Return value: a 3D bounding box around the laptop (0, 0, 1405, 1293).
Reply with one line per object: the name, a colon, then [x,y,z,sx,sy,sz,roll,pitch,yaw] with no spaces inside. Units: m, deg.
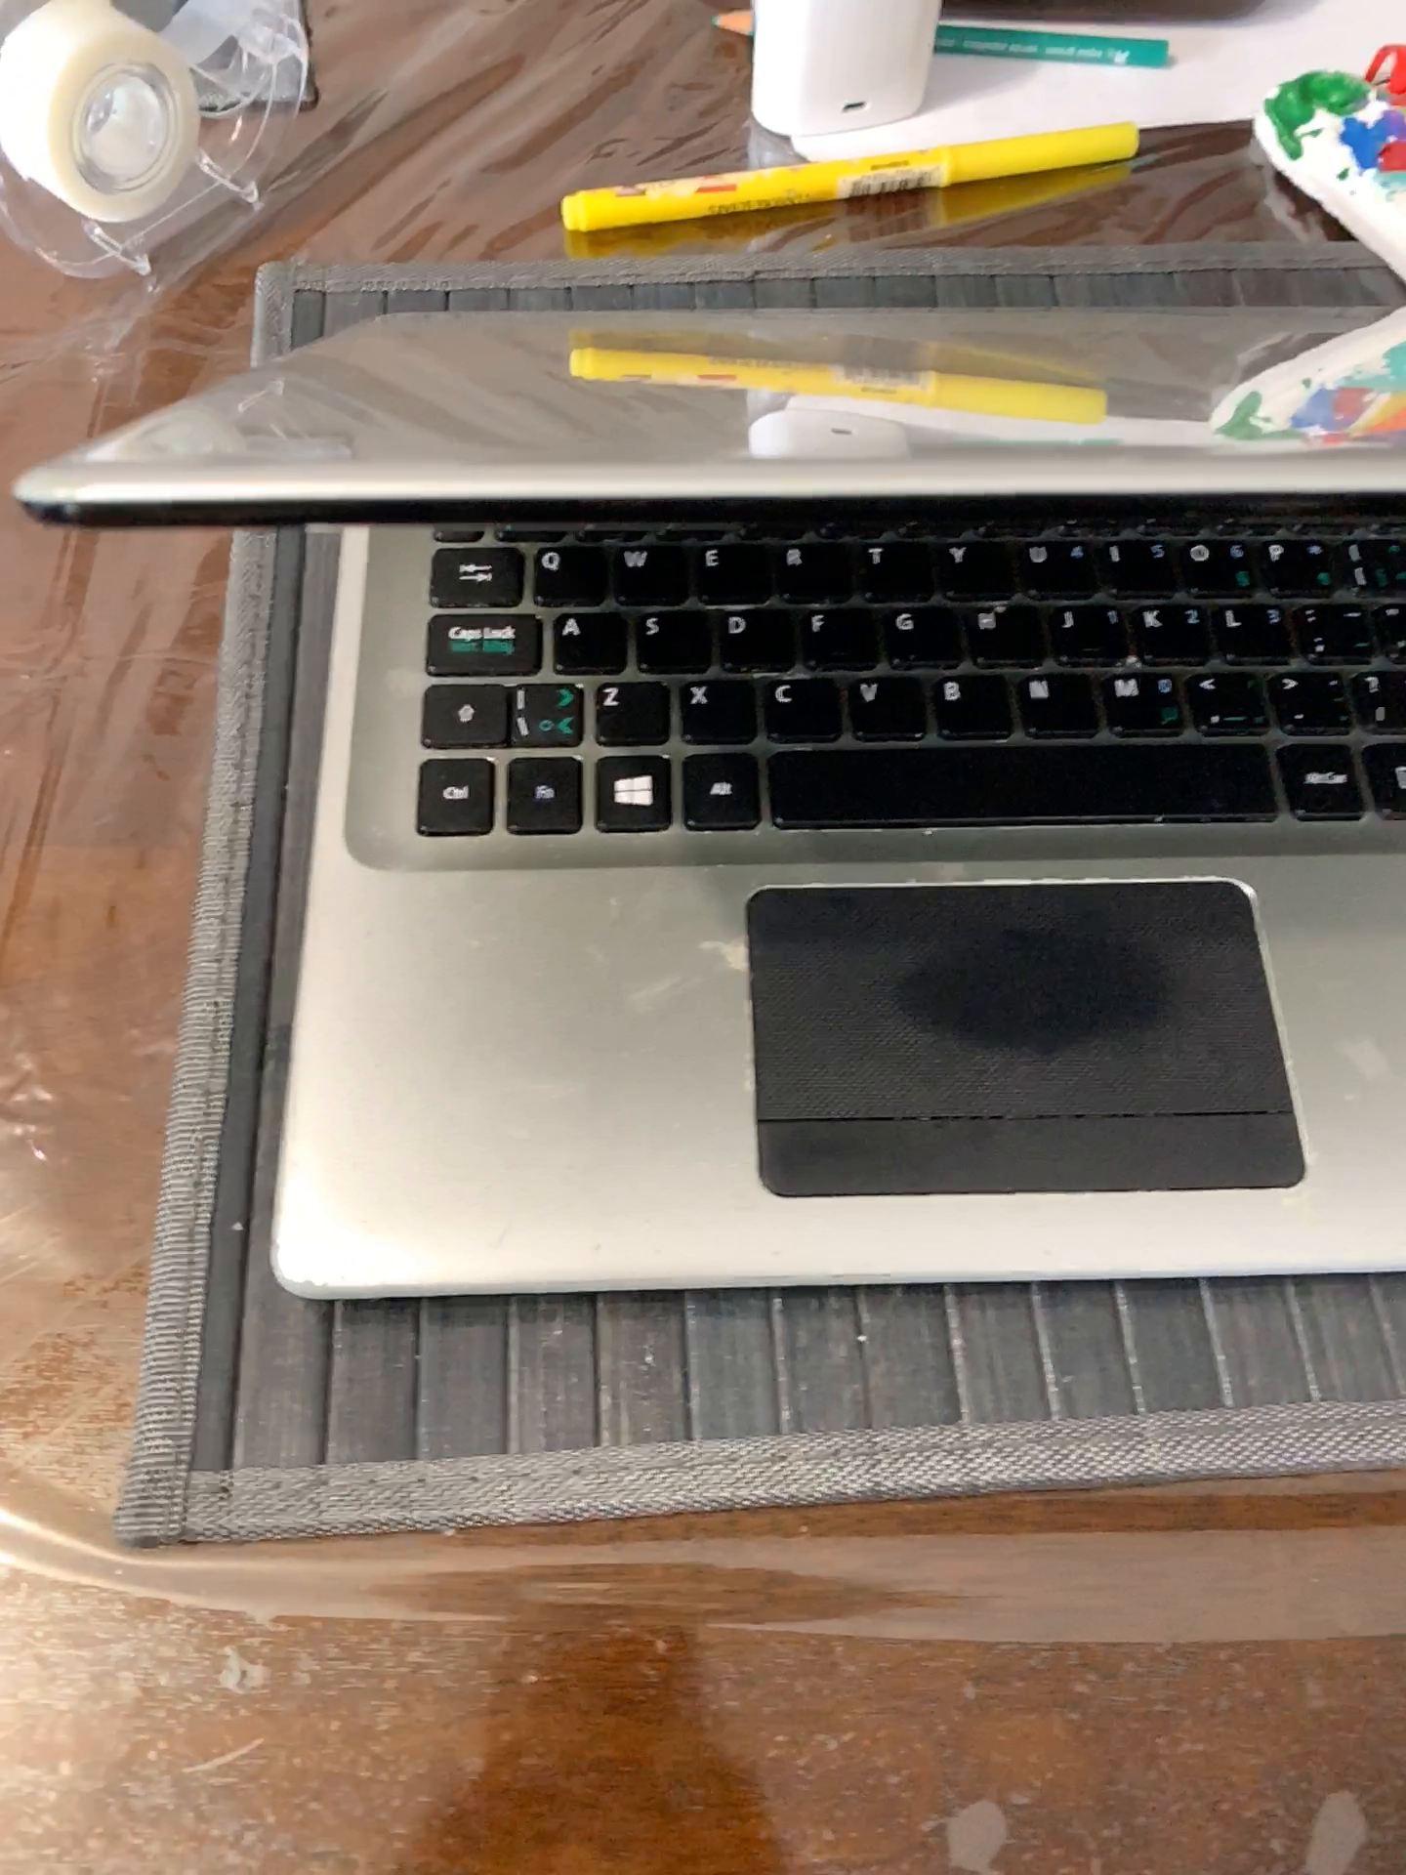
laptop: [0.089,-0.071,0.259,0.343,0.141,0.225,-1,65,-2]
